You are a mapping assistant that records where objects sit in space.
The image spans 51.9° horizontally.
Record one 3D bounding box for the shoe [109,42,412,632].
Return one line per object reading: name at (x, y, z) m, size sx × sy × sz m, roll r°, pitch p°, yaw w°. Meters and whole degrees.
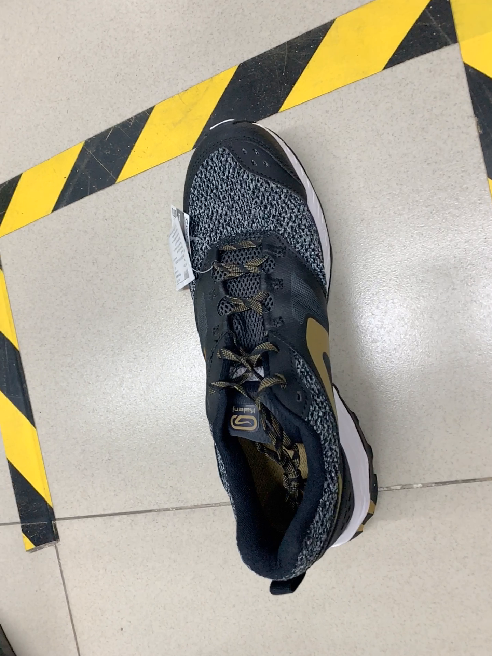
shoe at (0.015, 0.010, 0.320) m, size 0.110 × 0.100 × 0.300 m, roll -11°, pitch 89°, yaw 24°
